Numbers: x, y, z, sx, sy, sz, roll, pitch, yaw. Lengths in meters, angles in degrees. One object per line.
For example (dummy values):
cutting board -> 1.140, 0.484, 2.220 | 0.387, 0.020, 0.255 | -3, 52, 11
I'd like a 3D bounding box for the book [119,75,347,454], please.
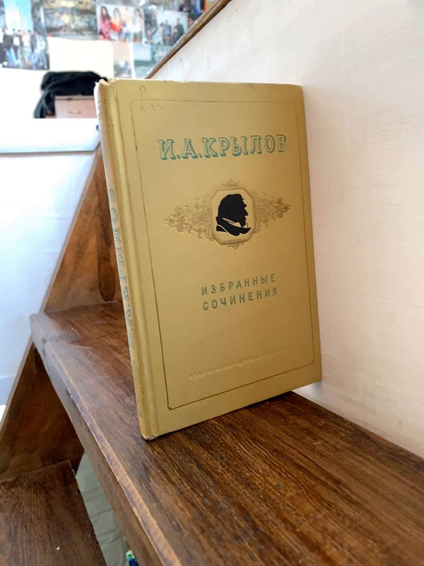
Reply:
book -> 0.022, -0.015, 0.275 | 0.132, 0.206, 0.020 | -10, 9, -26
